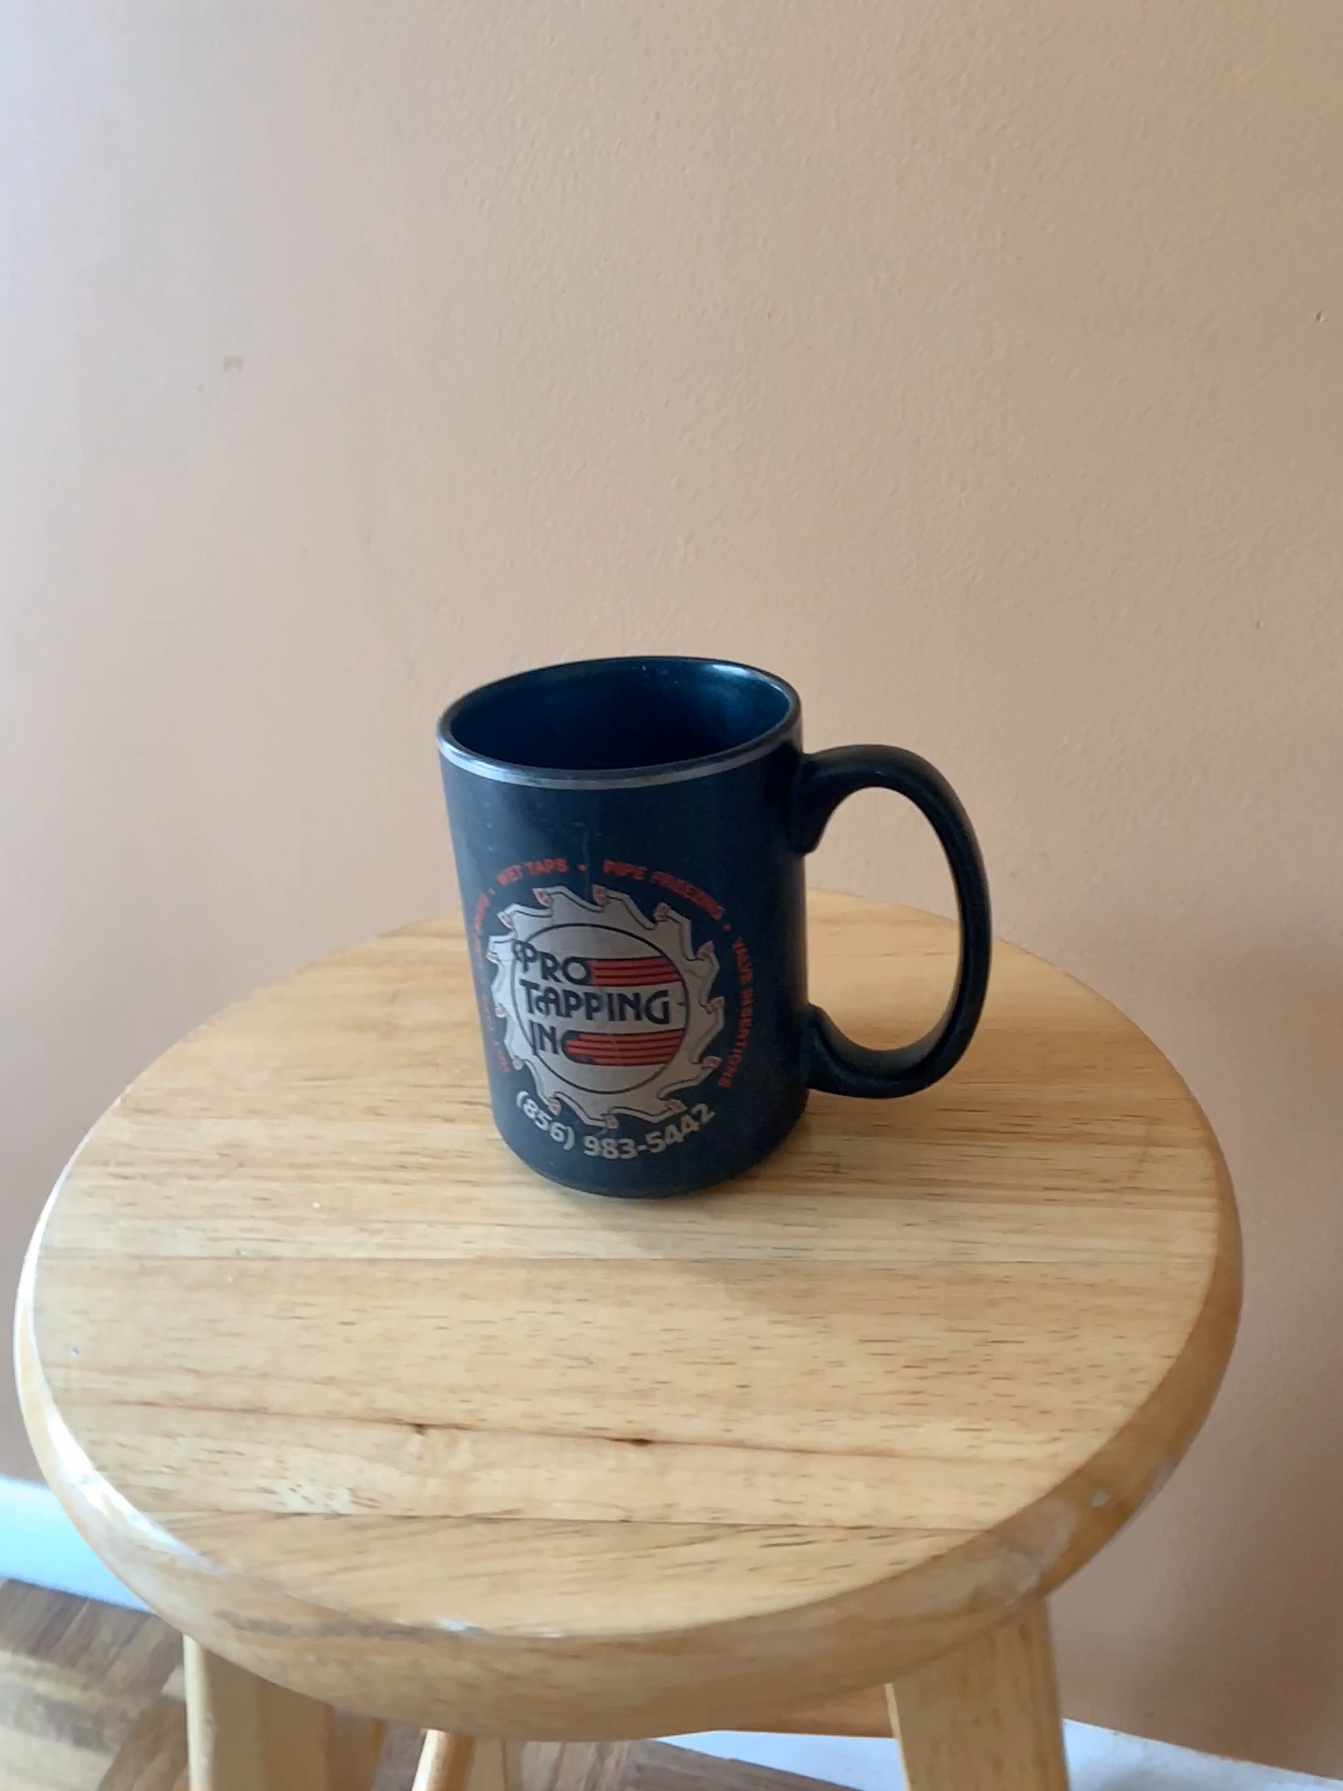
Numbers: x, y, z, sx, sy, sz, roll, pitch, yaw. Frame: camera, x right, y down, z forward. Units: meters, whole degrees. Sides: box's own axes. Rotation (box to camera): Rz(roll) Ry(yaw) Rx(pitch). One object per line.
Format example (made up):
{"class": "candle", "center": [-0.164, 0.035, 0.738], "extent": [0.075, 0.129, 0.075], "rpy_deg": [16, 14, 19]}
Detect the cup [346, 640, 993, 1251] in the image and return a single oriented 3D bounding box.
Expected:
{"class": "cup", "center": [0.009, 0.005, 0.370], "extent": [0.140, 0.119, 0.111], "rpy_deg": [2, 25, 10]}
